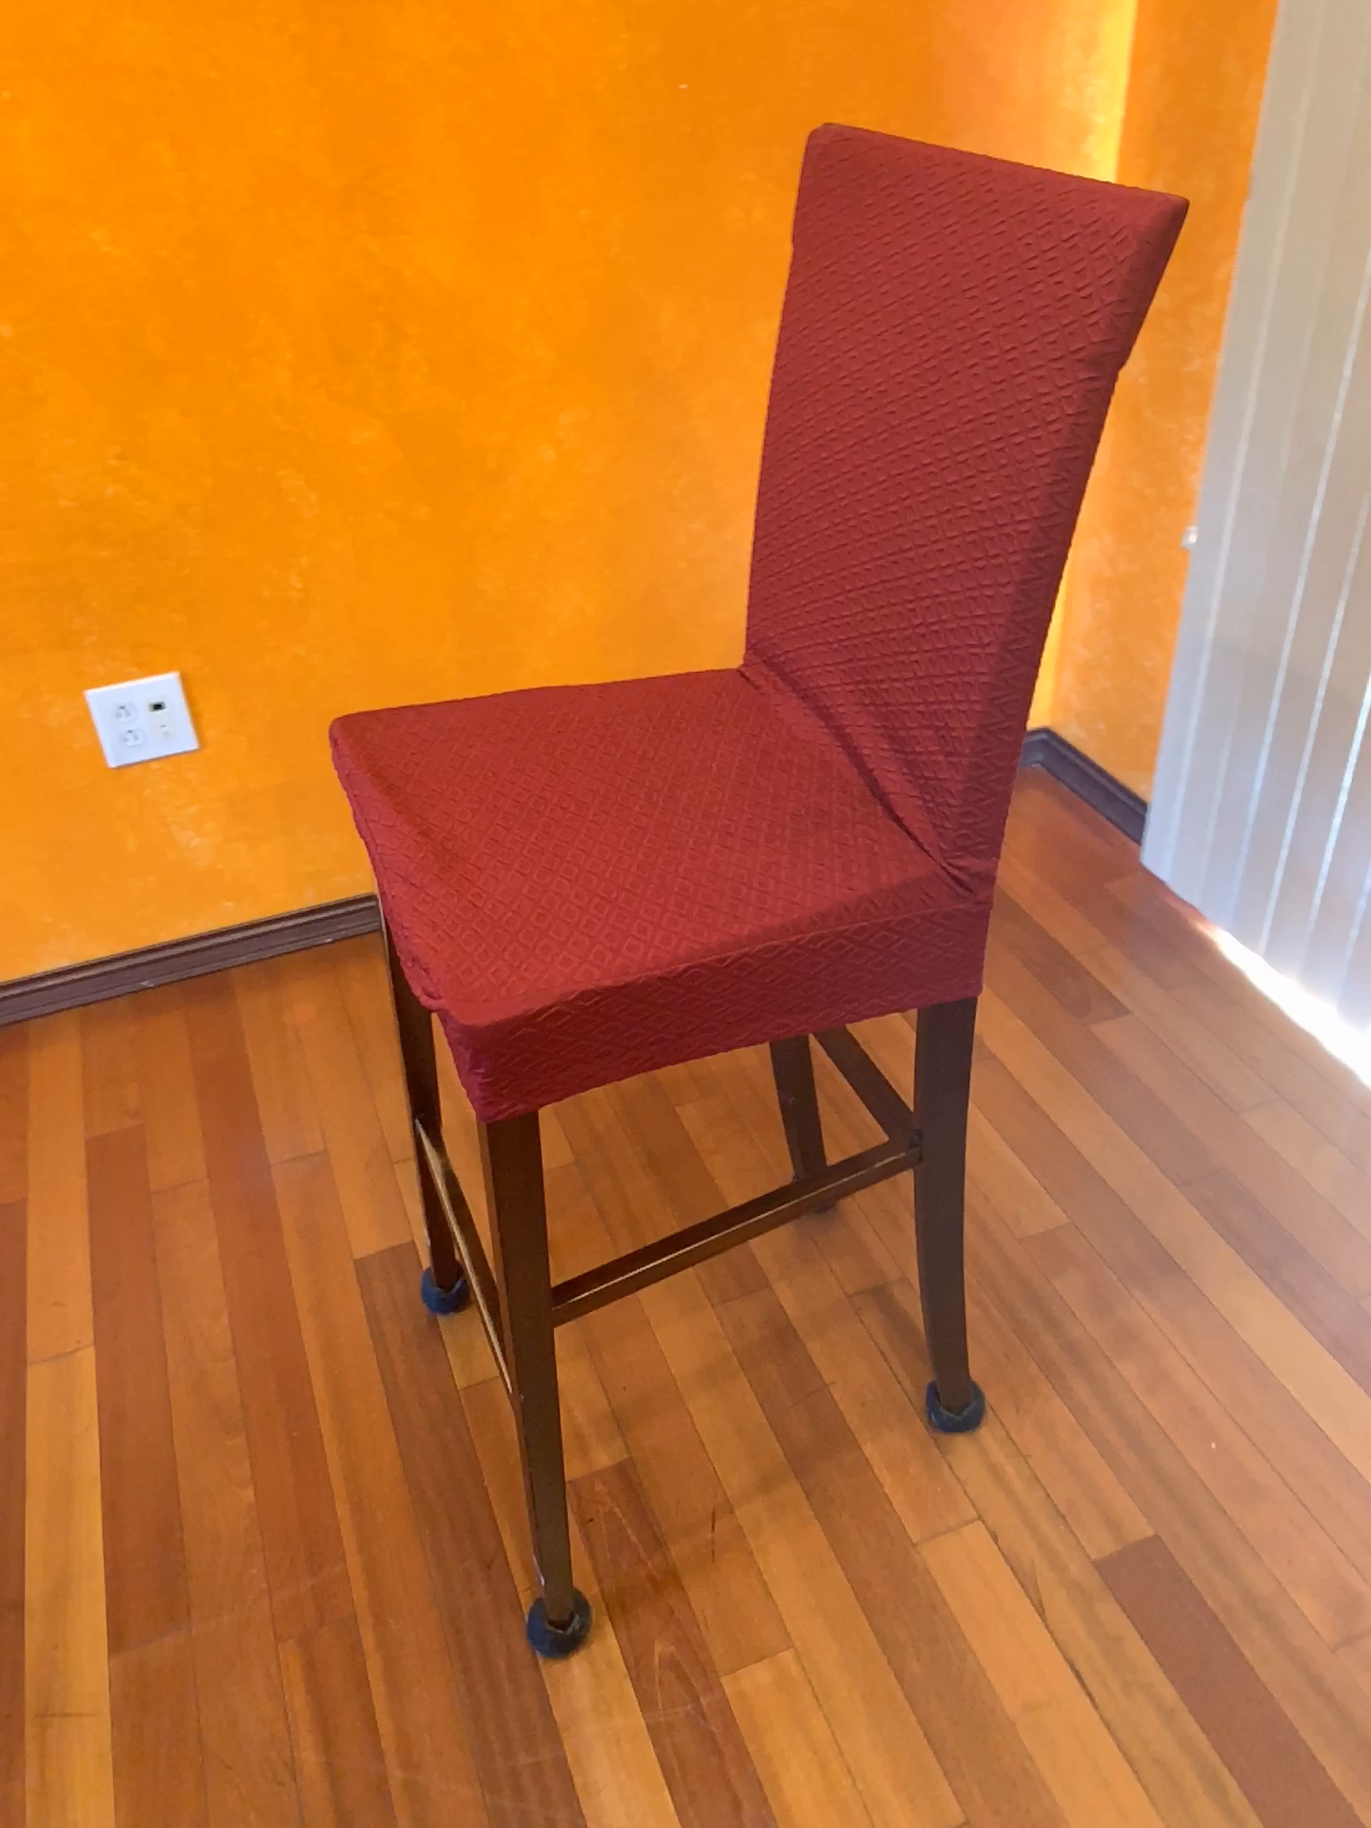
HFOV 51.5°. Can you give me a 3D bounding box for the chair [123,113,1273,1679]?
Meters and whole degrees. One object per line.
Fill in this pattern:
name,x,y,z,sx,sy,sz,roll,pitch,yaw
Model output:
chair,-0.020,0.006,1.096,0.507,1.026,0.470,-14,36,-17
